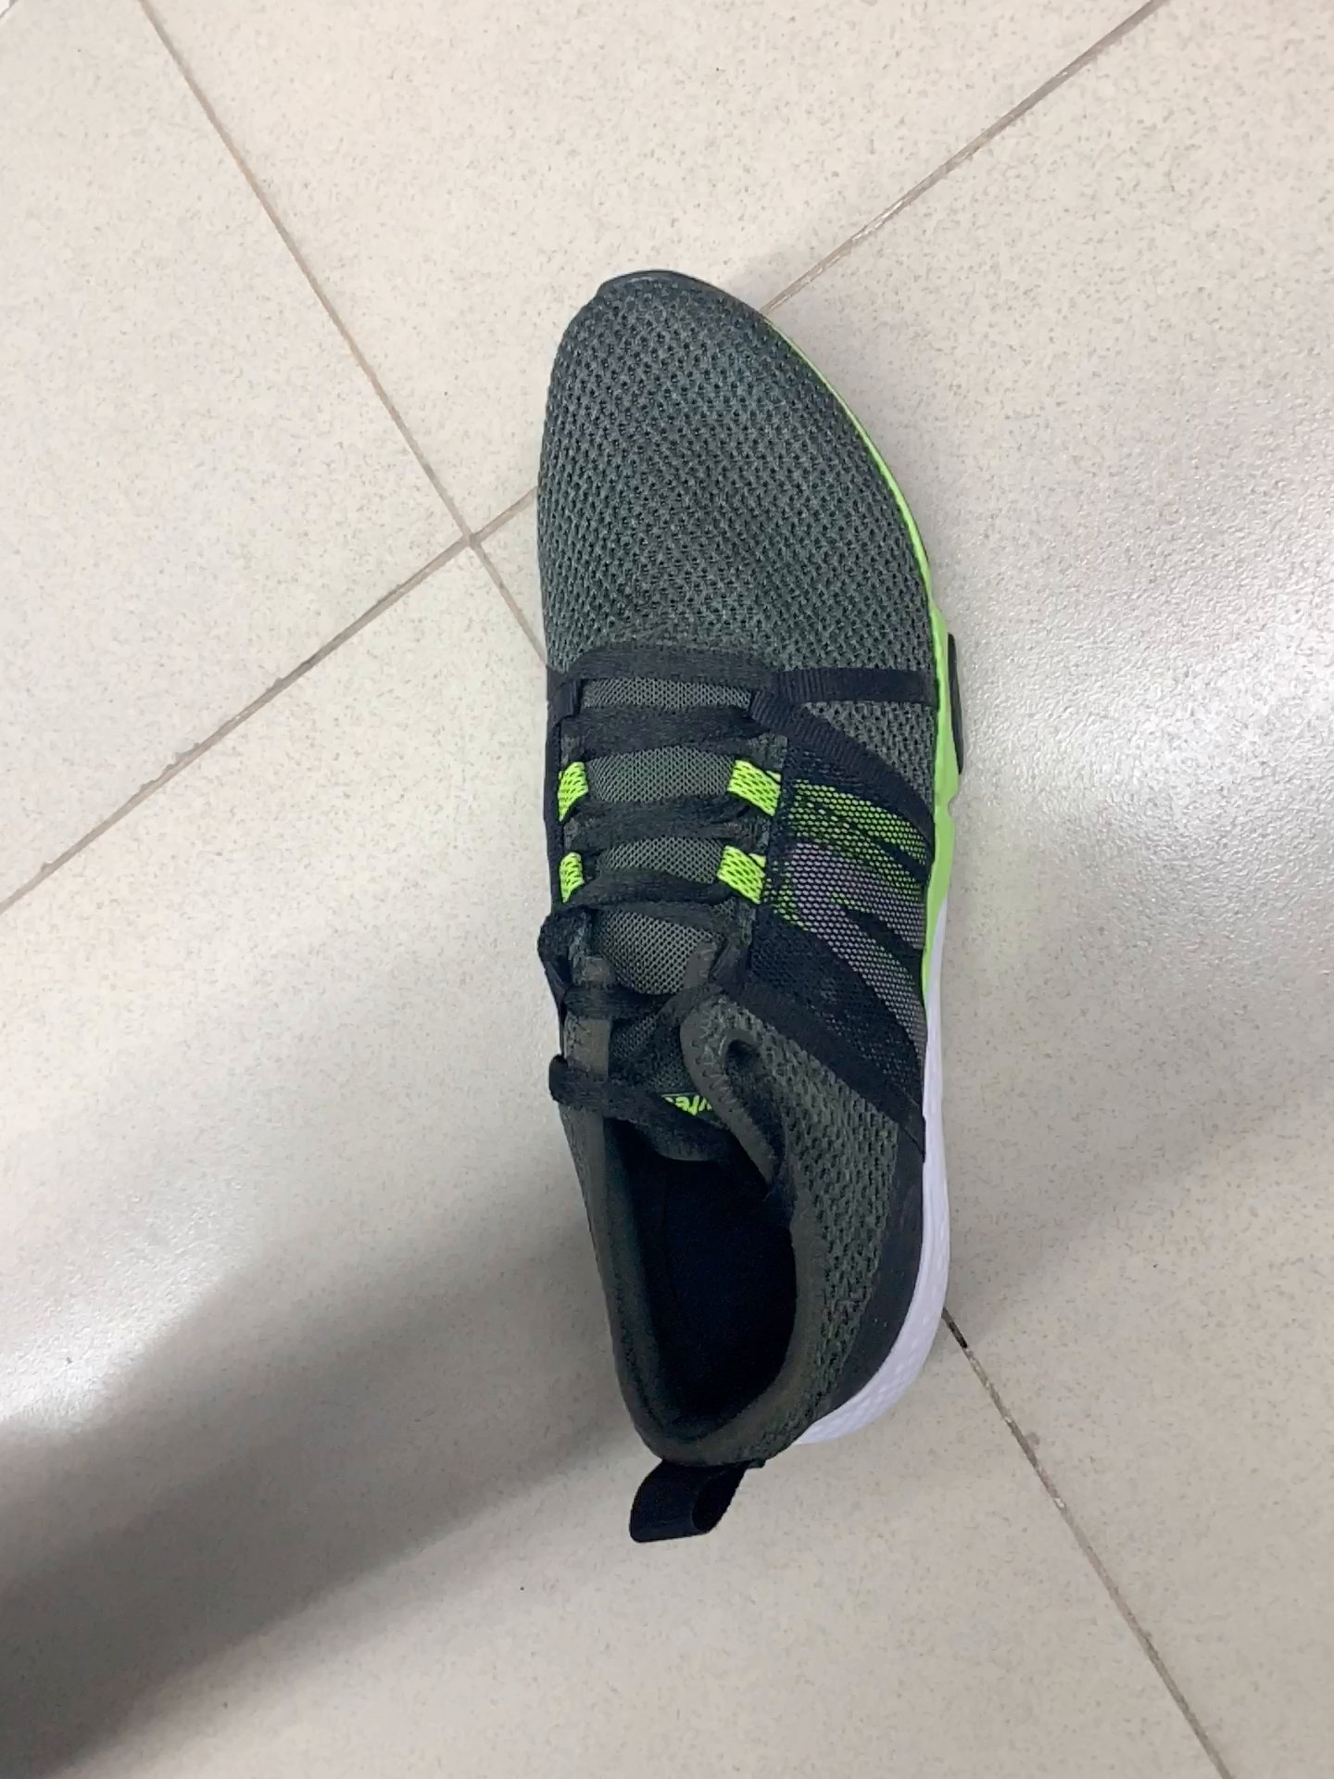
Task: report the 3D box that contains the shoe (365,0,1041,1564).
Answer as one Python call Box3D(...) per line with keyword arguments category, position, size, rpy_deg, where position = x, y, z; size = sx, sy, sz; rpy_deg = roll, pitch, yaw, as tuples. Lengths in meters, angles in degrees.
Box3D(category="shoe", position=(0.016, -0.017, 0.327), size=(0.110, 0.100, 0.300), rpy_deg=(-5, 91, 18))
